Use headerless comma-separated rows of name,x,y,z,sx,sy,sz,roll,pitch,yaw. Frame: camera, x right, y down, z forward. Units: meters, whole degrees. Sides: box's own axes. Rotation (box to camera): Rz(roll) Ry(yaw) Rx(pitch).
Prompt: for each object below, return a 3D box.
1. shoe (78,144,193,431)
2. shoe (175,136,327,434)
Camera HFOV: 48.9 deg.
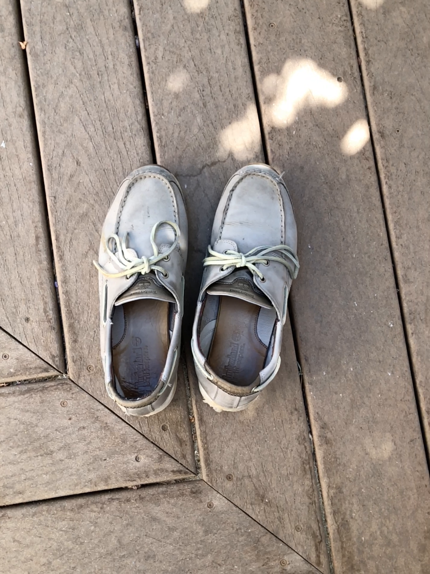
shoe,-0.088,0.000,0.560,0.119,0.096,0.310,-1,85,-3
shoe,0.040,-0.002,0.566,0.121,0.098,0.312,9,84,-2
